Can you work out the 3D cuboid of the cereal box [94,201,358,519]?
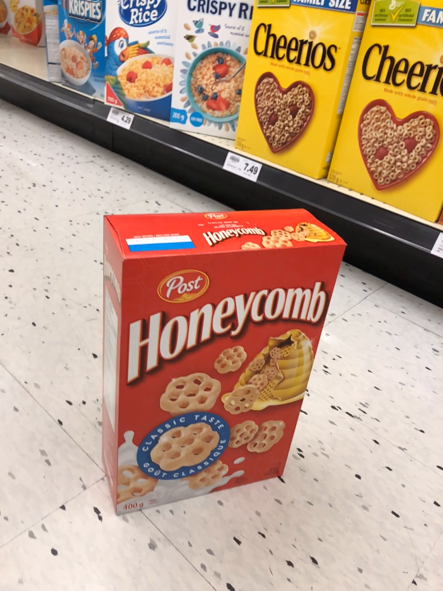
[{"bbox_3d":[-0.015,0.066,0.471,0.200,0.298,0.080,-5,34,-21],"label":"cereal box"}]
